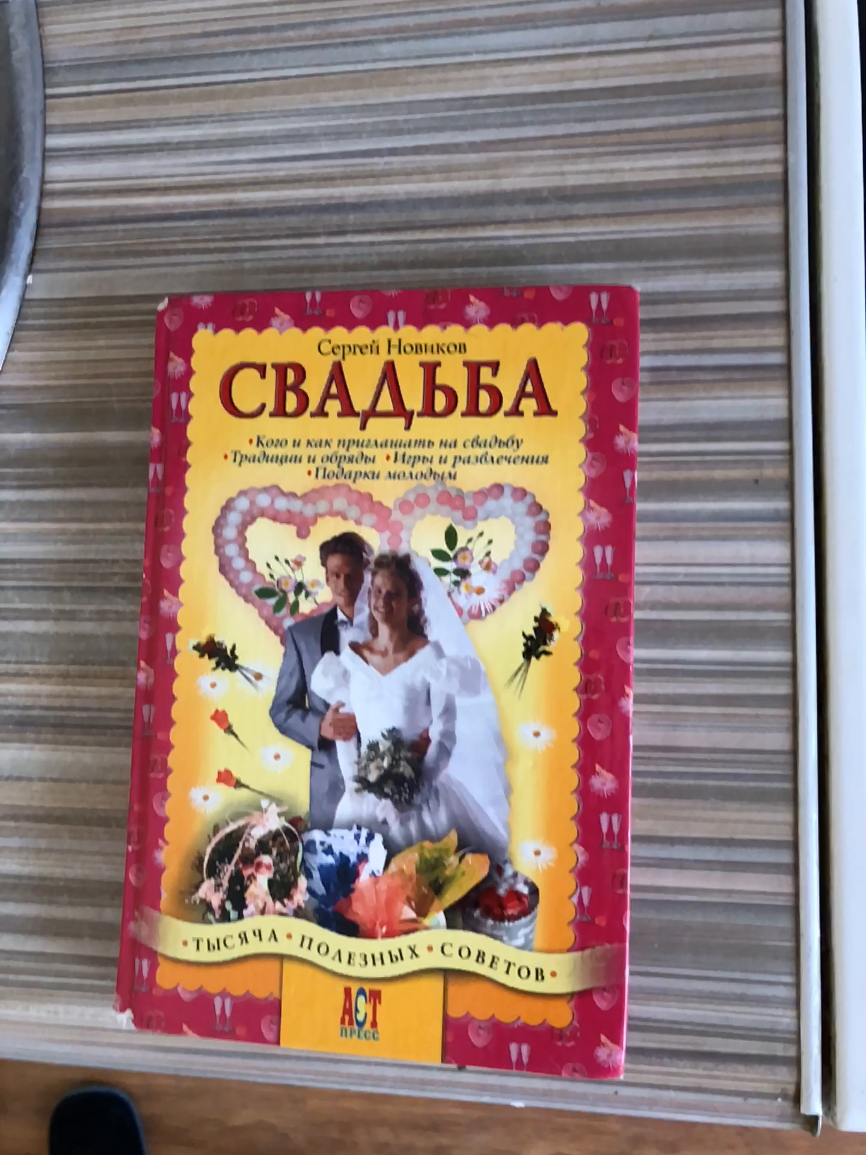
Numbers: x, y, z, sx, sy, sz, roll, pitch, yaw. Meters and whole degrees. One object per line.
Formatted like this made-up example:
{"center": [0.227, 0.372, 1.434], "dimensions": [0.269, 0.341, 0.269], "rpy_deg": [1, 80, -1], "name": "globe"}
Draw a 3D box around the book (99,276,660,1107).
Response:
{"center": [-0.014, 0.025, 0.276], "dimensions": [0.150, 0.020, 0.220], "rpy_deg": [1, 85, 9], "name": "book"}
